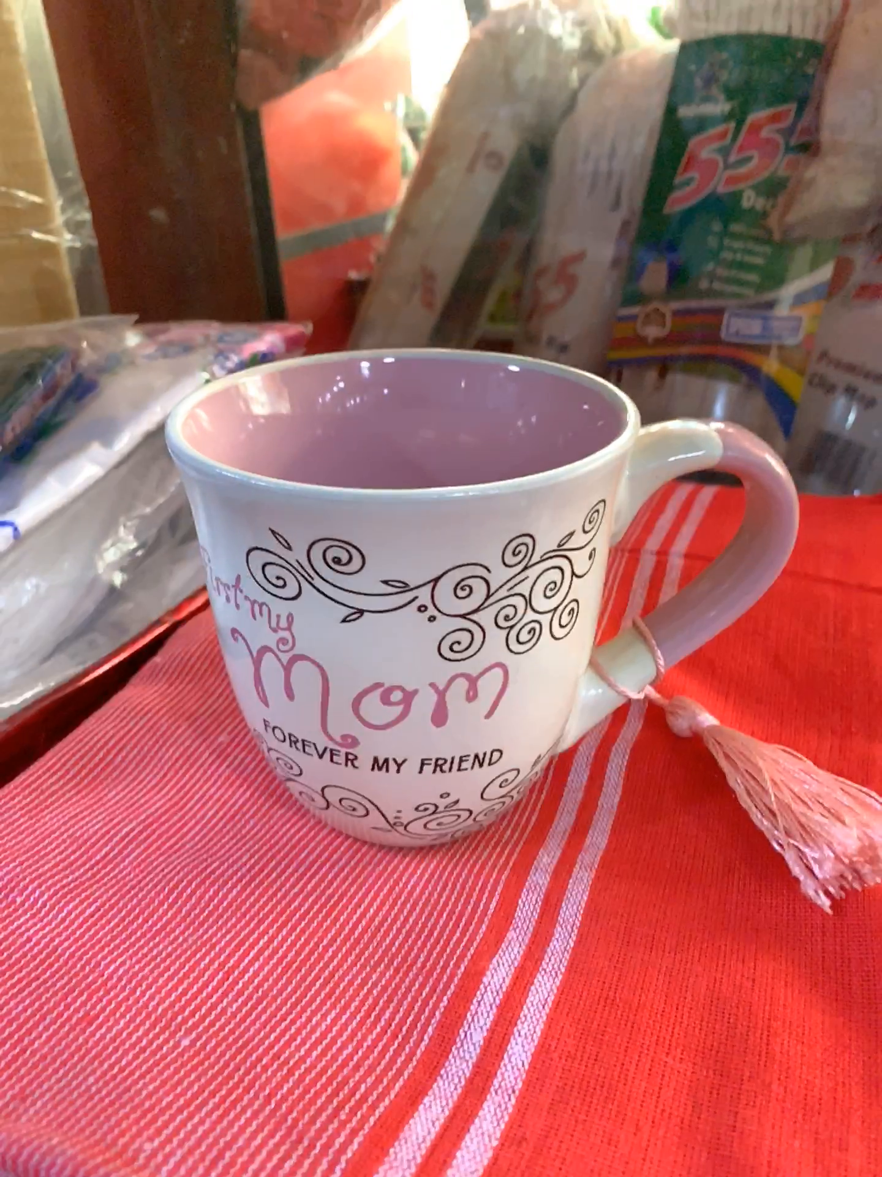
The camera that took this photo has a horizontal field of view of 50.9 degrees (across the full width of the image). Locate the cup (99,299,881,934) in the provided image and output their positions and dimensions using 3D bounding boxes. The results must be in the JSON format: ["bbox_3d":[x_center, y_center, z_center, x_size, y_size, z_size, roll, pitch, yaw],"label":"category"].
[{"bbox_3d":[0.003,-0.006,0.191,0.125,0.075,0.086,-11,30,-14],"label":"cup"}]
